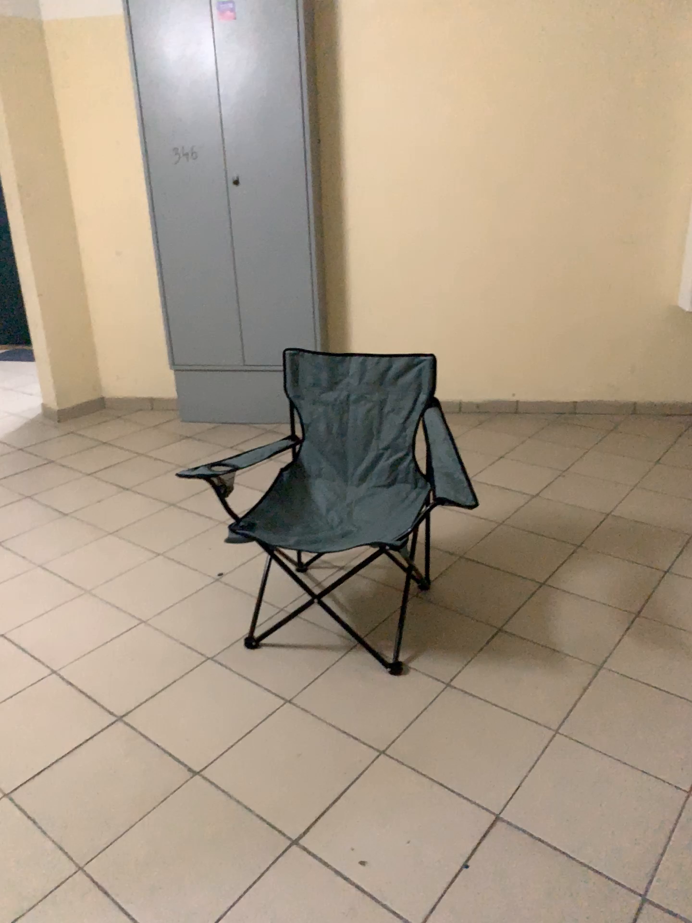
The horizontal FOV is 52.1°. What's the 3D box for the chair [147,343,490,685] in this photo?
[{"bbox_3d":[-0.022,0.100,2.048,0.800,0.757,0.562,3,22,14],"label":"chair"}]
